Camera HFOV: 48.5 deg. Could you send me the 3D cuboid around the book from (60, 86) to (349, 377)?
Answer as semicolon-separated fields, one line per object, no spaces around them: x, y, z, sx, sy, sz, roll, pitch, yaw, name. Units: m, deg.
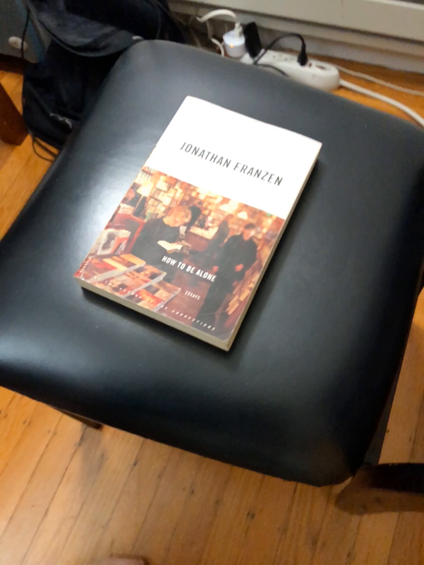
0.001;-0.058;0.415;0.160;0.040;0.231;22;69;15;book
